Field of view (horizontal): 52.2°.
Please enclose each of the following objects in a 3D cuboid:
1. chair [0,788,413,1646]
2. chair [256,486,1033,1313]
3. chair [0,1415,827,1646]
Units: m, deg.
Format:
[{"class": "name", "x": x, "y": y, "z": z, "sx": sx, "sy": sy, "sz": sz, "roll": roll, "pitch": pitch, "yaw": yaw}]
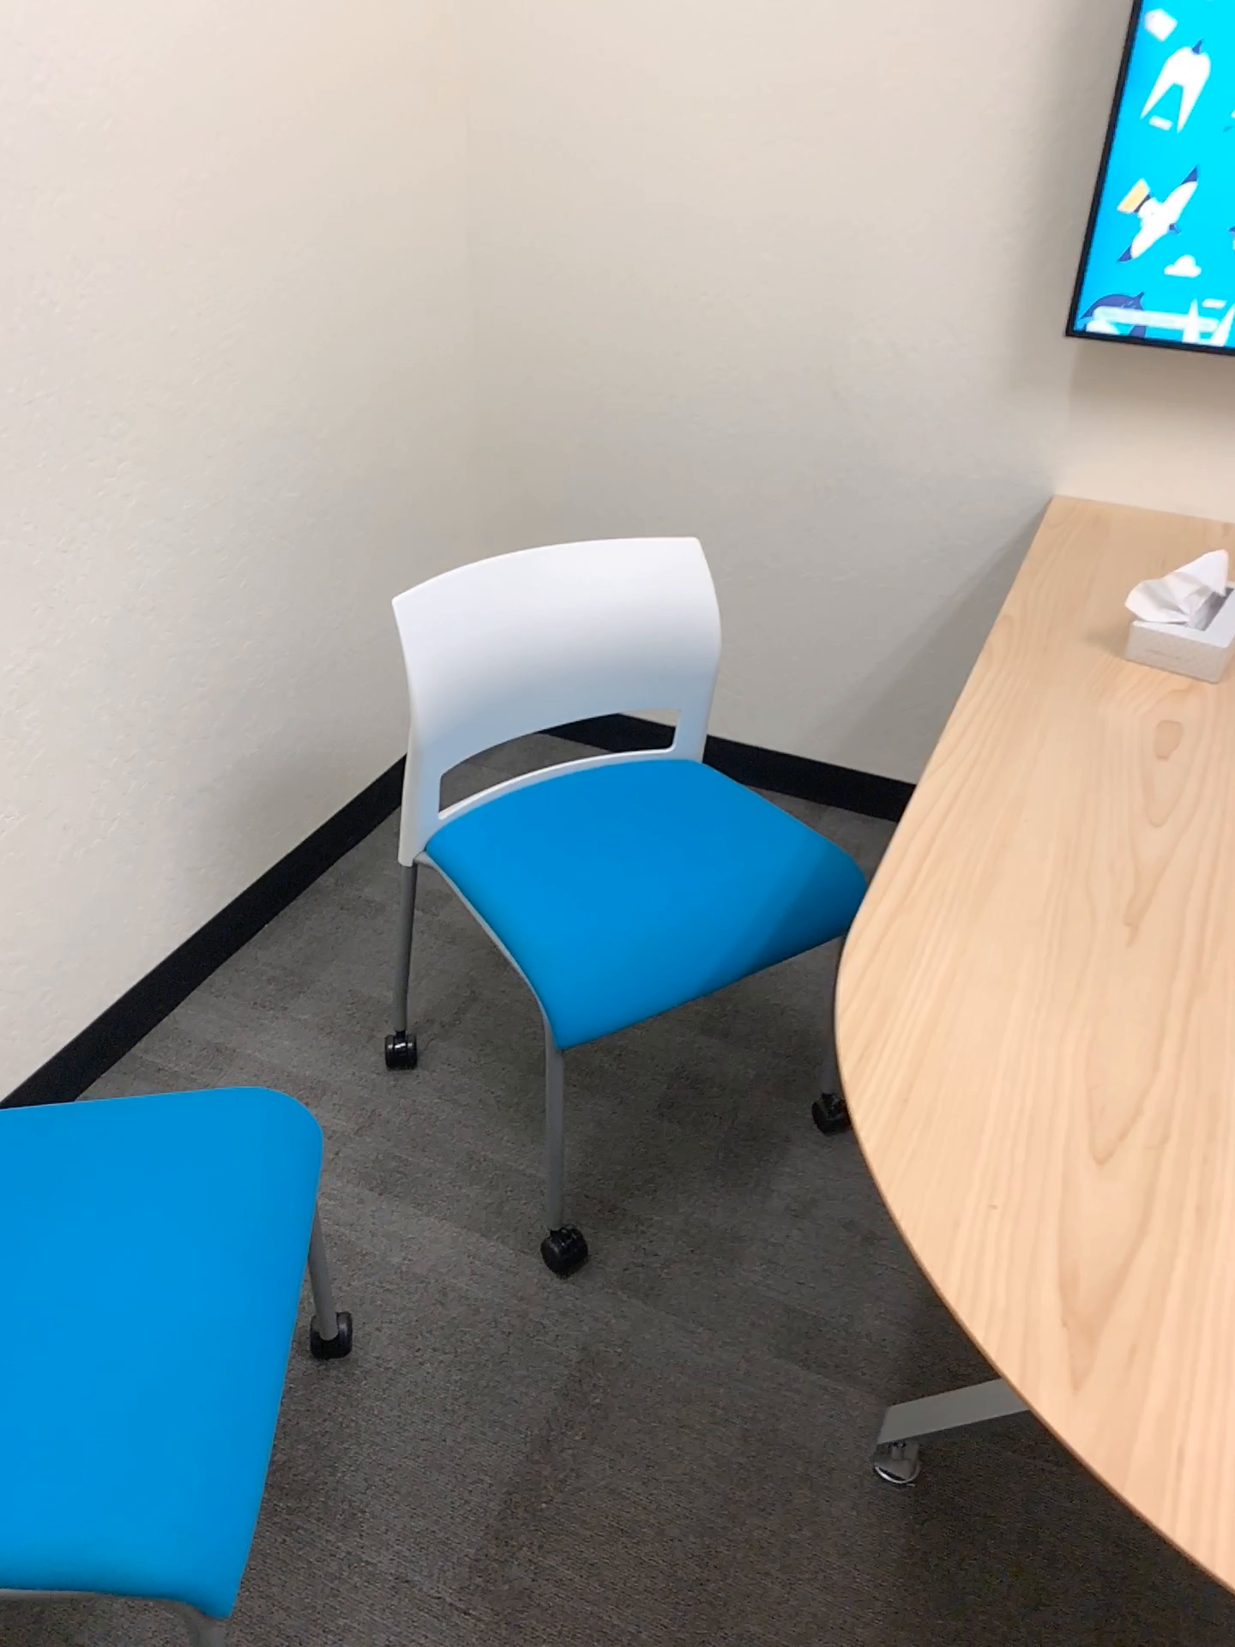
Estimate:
[{"class": "chair", "x": -0.593, "y": 0.460, "z": 1.147, "sx": 0.690, "sy": 0.755, "sz": 0.644, "roll": 0, "pitch": 34, "yaw": -2}, {"class": "chair", "x": 0.009, "y": 0.044, "z": 1.850, "sx": 0.751, "sy": 0.765, "sz": 0.694, "roll": -19, "pitch": 39, "yaw": -28}, {"class": "chair", "x": -0.374, "y": 0.828, "z": 0.575, "sx": 0.690, "sy": 0.715, "sz": 0.644, "roll": -5, "pitch": 34, "yaw": -9}]
